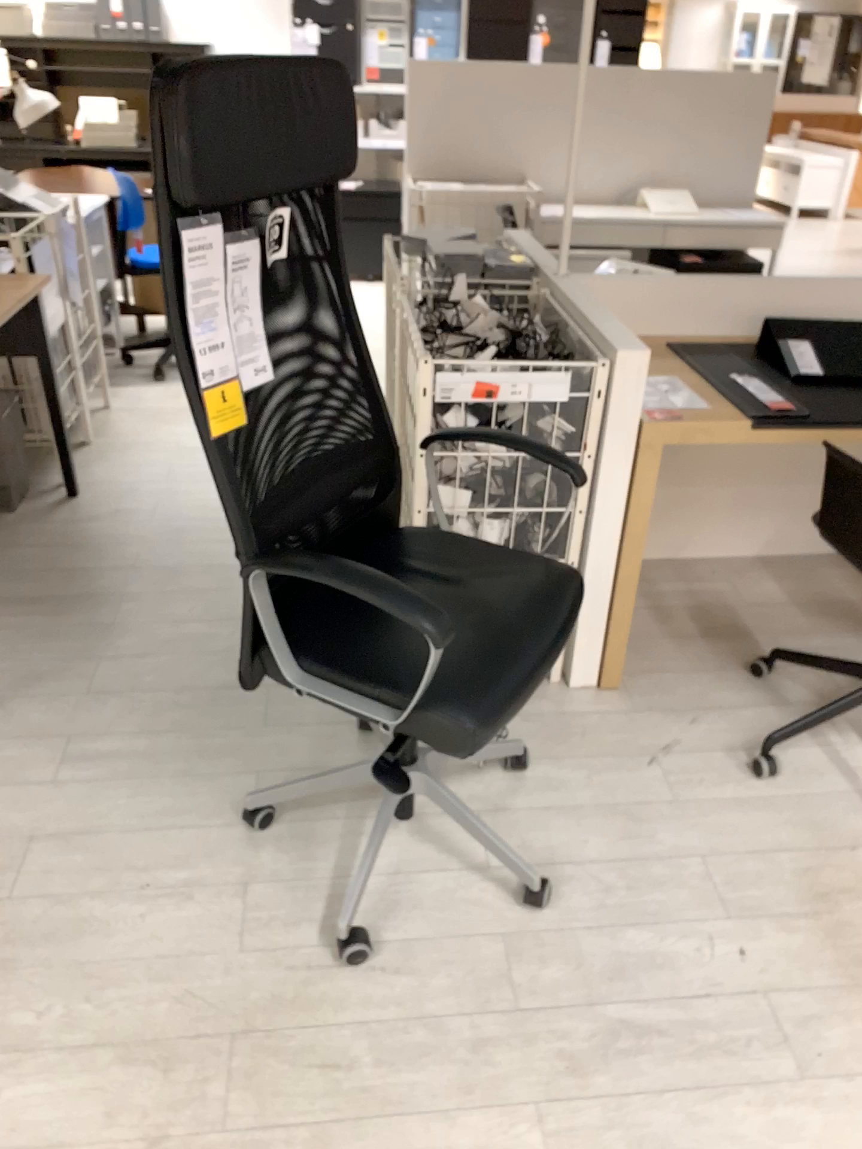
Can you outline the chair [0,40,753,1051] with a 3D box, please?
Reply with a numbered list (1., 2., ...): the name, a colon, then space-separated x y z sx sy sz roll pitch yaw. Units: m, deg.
1. chair: -0.020 -0.085 1.428 0.679 1.293 0.725 15 32 21
